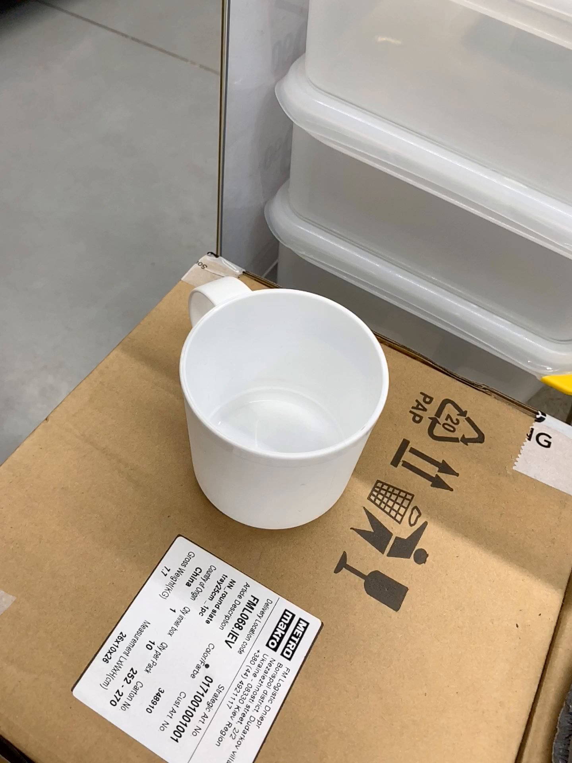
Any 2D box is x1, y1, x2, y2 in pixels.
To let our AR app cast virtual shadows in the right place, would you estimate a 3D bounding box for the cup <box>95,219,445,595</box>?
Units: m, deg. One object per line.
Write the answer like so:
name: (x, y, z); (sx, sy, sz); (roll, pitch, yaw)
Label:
cup: (-0.012, 0.008, 0.247); (0.080, 0.075, 0.113); (-26, 62, -22)
